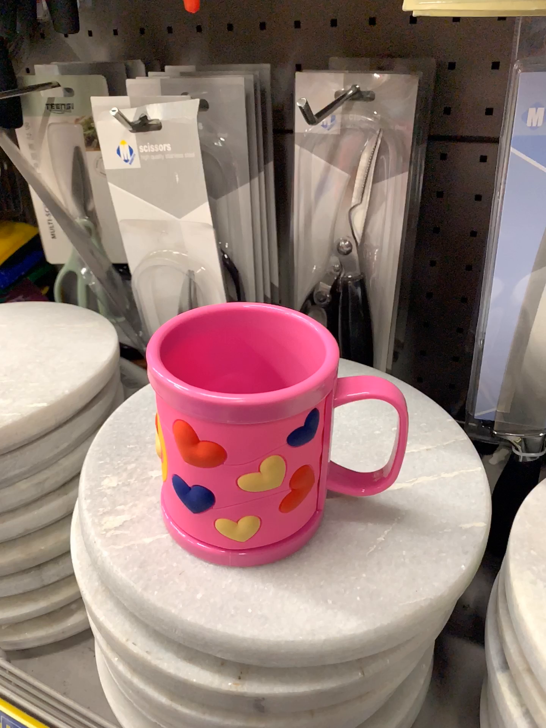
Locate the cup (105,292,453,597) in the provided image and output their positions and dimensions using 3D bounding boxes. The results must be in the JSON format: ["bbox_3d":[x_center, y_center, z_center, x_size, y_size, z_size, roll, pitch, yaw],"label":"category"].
[{"bbox_3d":[0.007,0.031,0.252,0.120,0.100,0.080,2,31,8],"label":"cup"}]
